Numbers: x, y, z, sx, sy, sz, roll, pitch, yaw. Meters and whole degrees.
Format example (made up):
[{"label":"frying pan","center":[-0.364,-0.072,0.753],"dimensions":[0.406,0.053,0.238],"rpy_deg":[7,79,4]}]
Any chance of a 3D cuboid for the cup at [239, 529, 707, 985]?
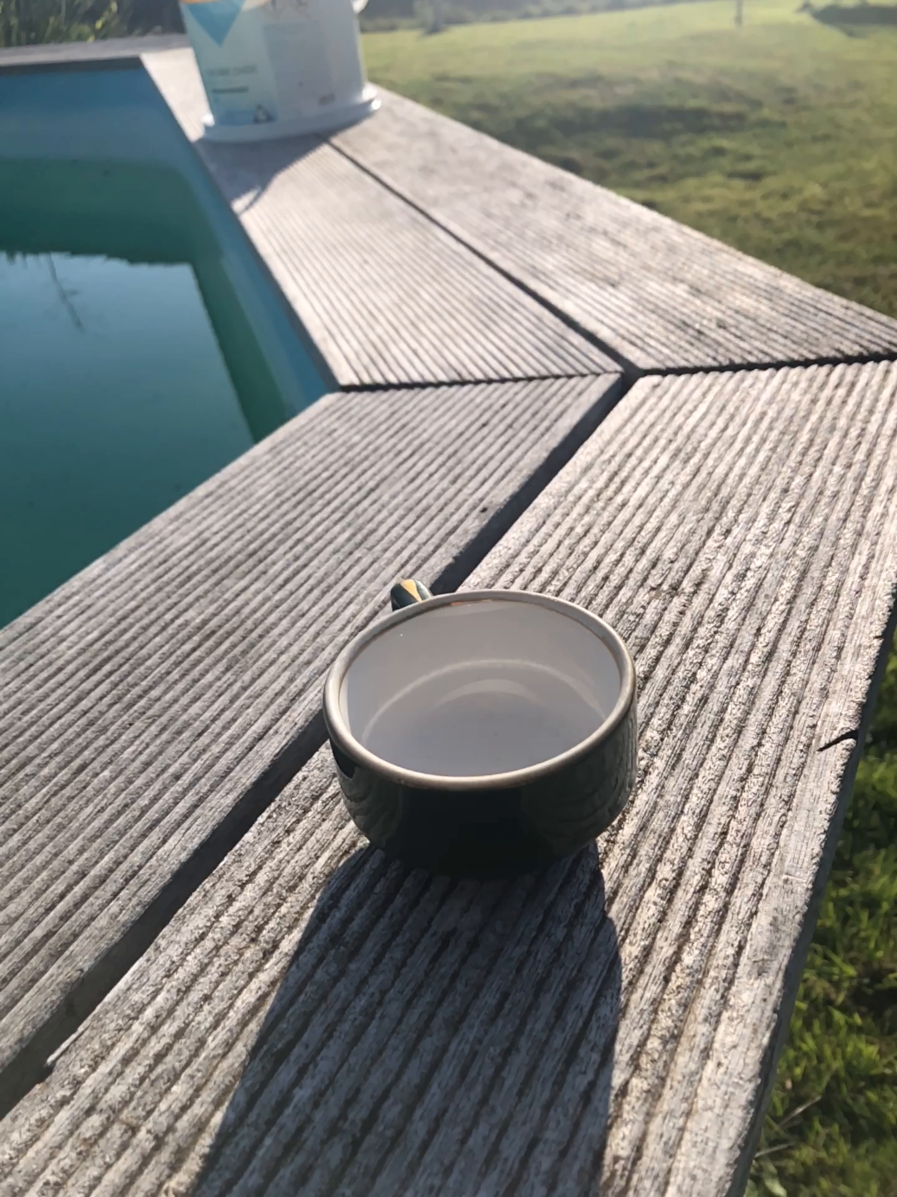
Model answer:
[{"label":"cup","center":[0.002,0.031,0.251],"dimensions":[0.083,0.038,0.095],"rpy_deg":[-19,36,-15]}]
